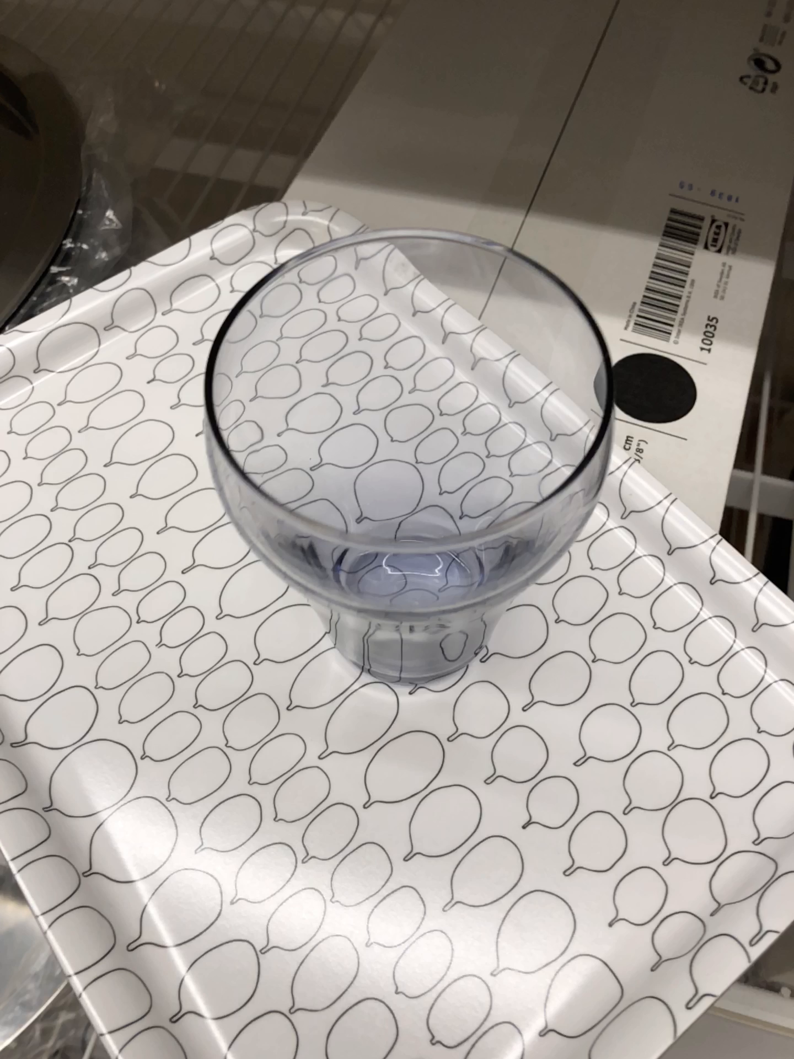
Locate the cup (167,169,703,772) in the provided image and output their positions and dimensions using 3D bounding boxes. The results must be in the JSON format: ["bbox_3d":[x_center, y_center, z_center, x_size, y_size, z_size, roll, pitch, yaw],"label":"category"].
[{"bbox_3d":[0.001,-0.011,0.193,0.080,0.080,0.090,-9,57,-5],"label":"cup"}]
